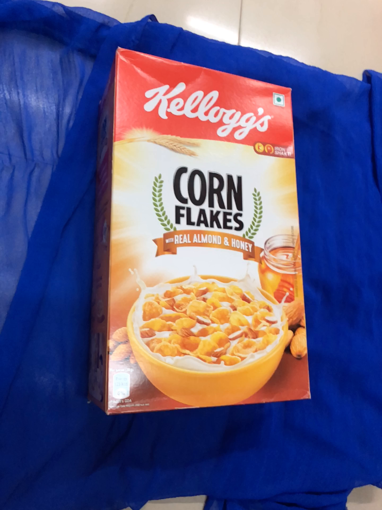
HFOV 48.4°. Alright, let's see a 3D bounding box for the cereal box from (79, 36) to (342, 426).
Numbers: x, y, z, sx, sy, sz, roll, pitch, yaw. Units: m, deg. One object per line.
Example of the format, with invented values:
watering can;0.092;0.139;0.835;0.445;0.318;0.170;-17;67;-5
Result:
cereal box;0.016;-0.016;0.398;0.210;0.090;0.300;4;78;-22
